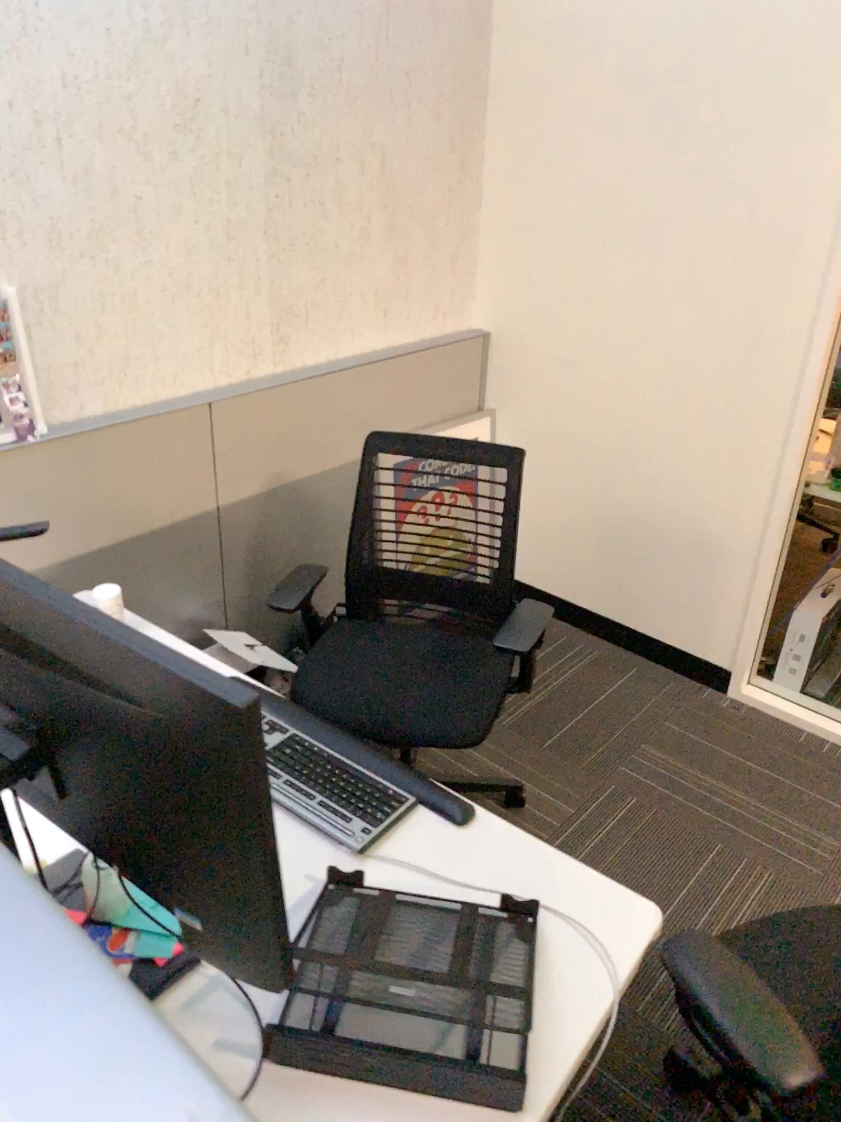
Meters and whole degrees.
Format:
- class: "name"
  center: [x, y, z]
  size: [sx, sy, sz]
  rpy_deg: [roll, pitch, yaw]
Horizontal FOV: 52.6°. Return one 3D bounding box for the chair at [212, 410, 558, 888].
- class: "chair"
  center: [-0.059, 0.195, 2.242]
  size: [0.671, 0.955, 0.653]
  rpy_deg: [8, 28, 11]
